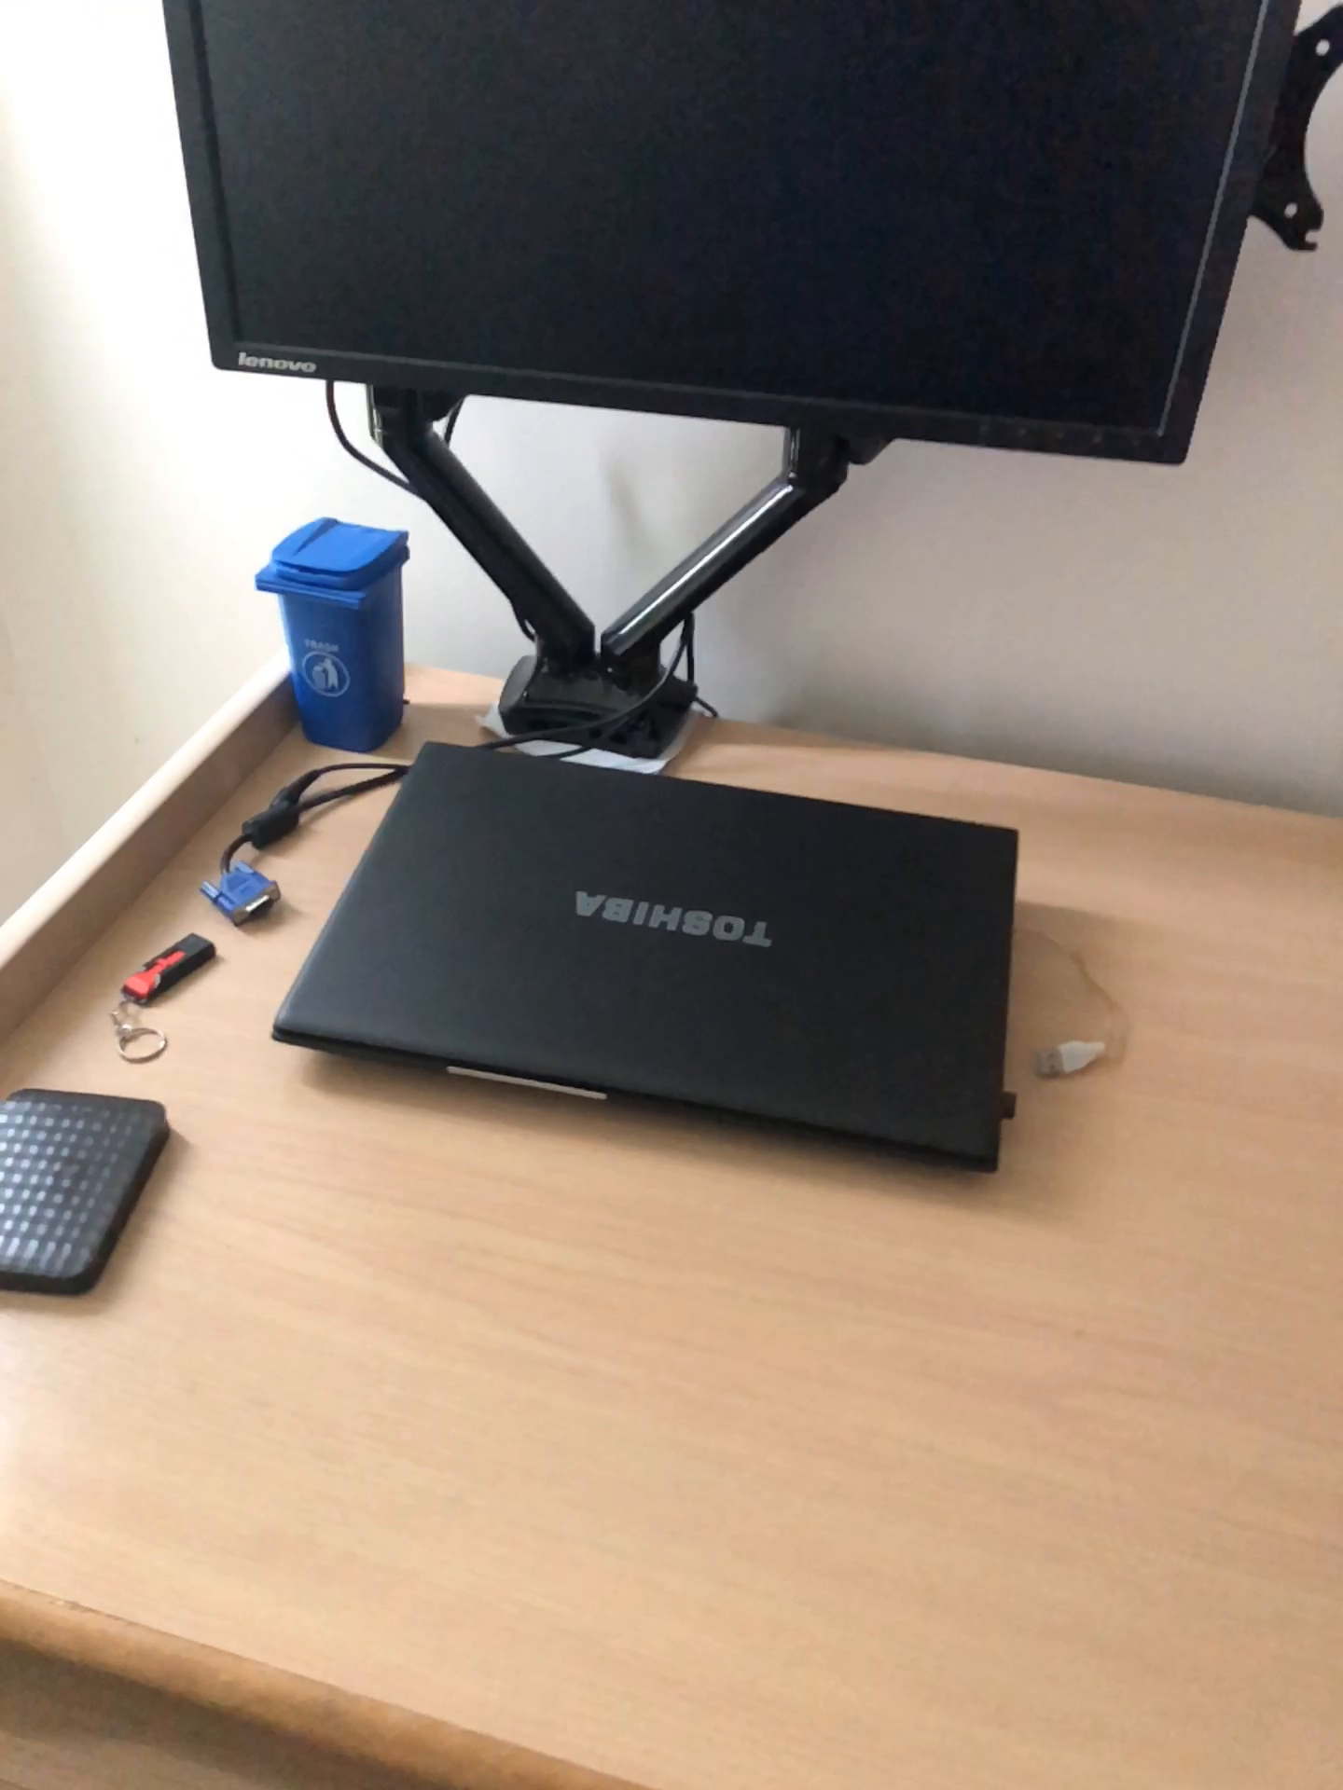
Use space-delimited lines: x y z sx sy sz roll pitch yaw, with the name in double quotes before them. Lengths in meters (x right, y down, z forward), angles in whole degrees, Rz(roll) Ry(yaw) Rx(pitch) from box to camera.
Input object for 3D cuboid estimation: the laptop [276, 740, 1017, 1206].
"laptop" 0.001 0.028 0.861 0.380 0.029 0.258 9 44 8
